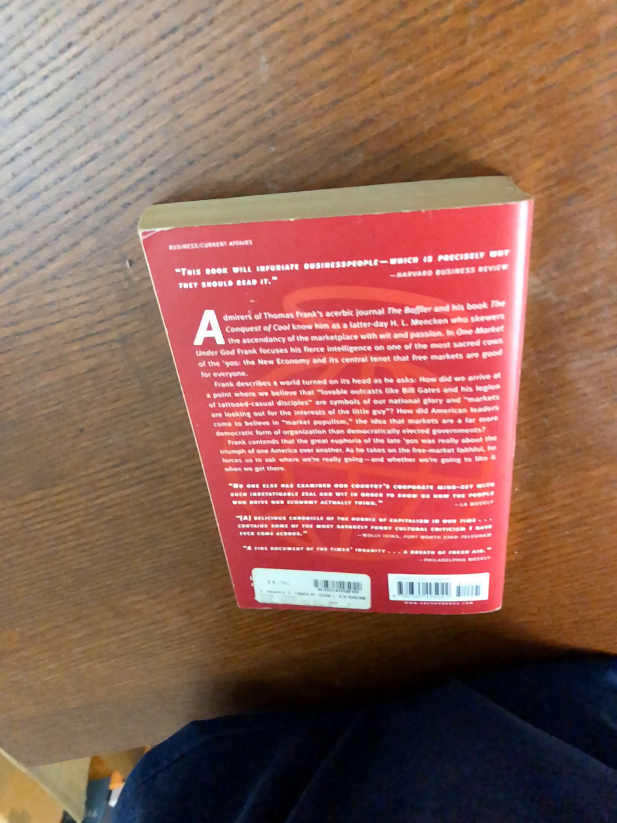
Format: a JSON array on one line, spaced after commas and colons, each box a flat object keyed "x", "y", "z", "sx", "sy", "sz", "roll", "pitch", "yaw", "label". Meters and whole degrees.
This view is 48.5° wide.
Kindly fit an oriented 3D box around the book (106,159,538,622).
[{"x": 0.014, "y": 0.010, "z": 0.293, "sx": 0.140, "sy": 0.030, "sz": 0.211, "roll": -1, "pitch": 126, "yaw": 9, "label": "book"}]
